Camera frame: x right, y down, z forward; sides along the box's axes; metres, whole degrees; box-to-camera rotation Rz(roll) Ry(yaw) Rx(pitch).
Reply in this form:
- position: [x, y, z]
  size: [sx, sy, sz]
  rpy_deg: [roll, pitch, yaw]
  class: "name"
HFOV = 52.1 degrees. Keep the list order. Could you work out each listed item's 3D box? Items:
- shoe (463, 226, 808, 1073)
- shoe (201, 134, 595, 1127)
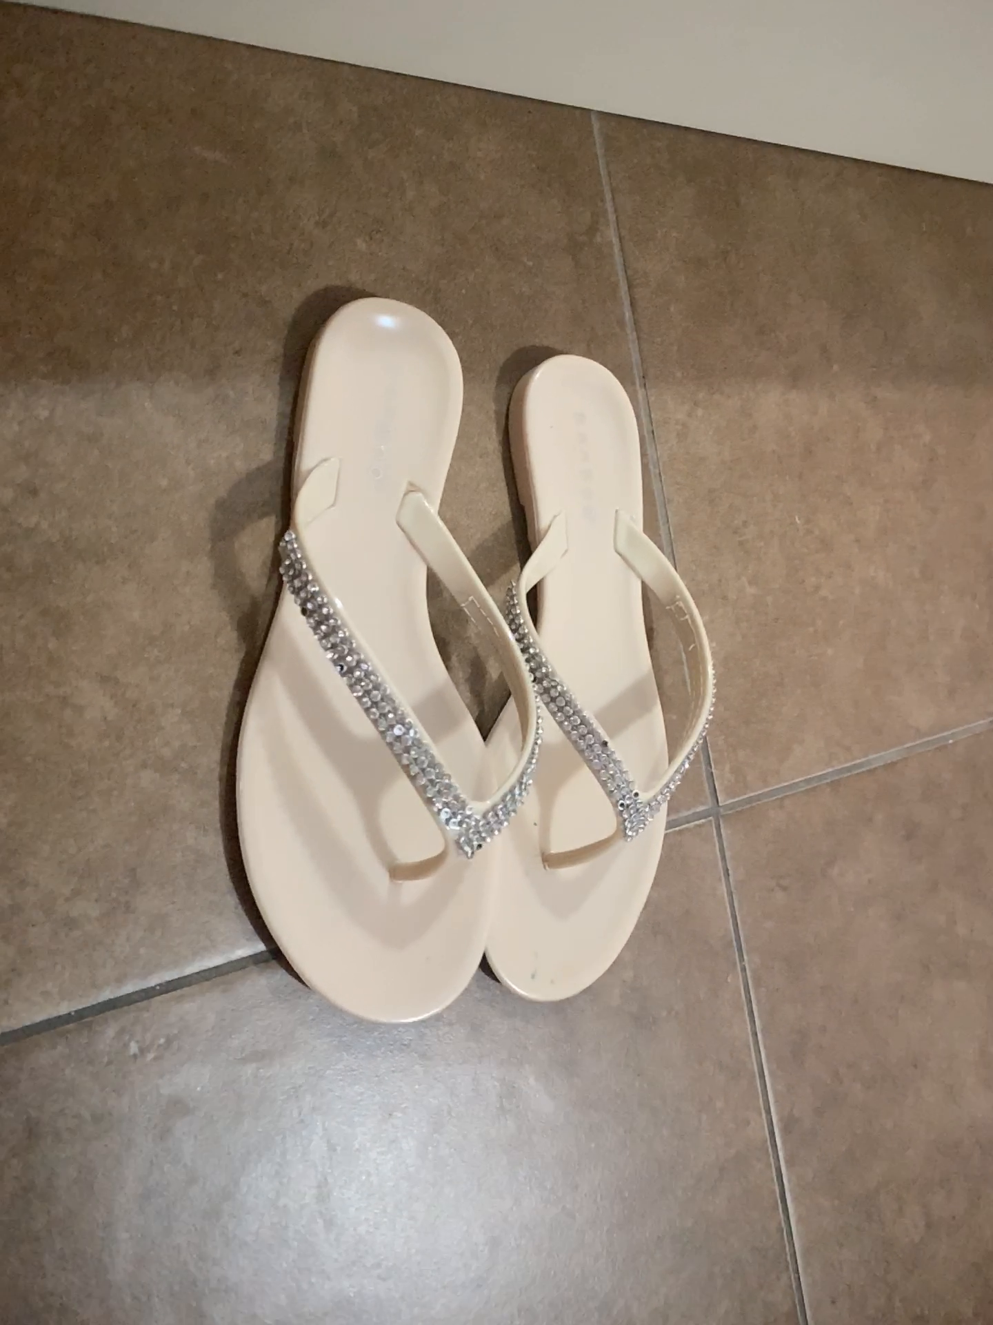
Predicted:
- position: [0.047, -0.003, 0.350]
  size: [0.092, 0.067, 0.249]
  rpy_deg: [4, 83, -31]
  class: "shoe"
- position: [-0.028, -0.008, 0.306]
  size: [0.093, 0.067, 0.249]
  rpy_deg: [4, 83, -31]
  class: "shoe"
